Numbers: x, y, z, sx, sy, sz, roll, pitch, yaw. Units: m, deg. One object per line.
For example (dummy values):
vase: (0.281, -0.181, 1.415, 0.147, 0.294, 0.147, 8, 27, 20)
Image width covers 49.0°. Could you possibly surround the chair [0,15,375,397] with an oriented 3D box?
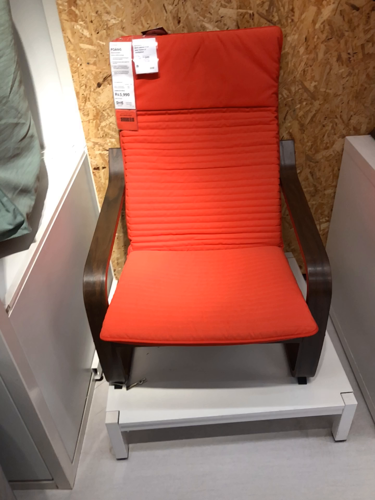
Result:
chair: (0.049, -0.159, 1.310, 0.750, 0.894, 0.795, -2, 36, 2)
